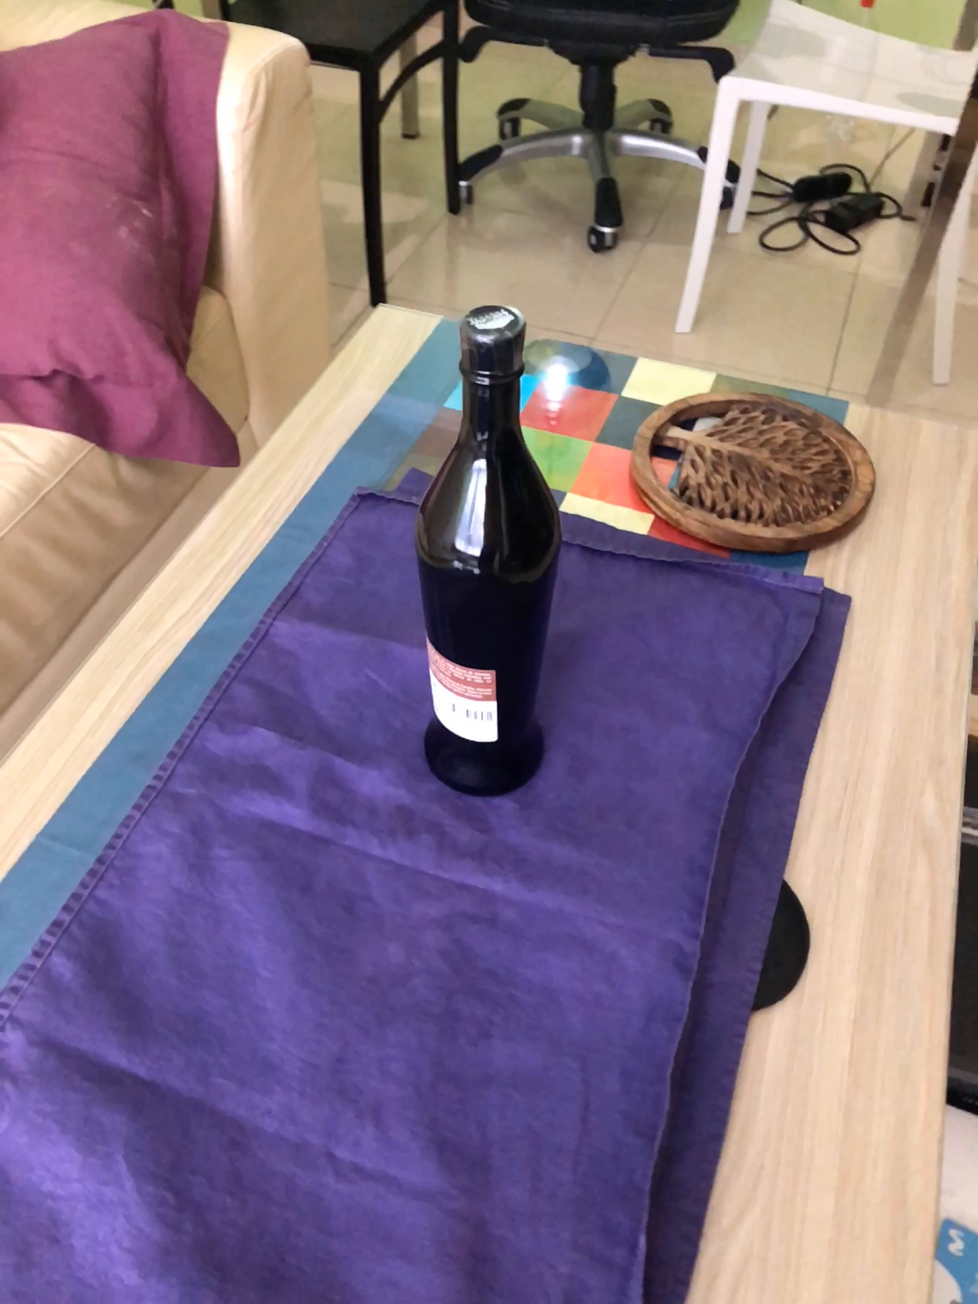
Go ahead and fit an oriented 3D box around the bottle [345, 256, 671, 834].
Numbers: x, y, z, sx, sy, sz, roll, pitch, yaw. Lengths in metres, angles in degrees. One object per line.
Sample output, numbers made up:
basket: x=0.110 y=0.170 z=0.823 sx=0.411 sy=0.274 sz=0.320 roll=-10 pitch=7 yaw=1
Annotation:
bottle: x=0.006 y=-0.042 z=0.568 sx=0.100 sy=0.279 sz=0.100 roll=1 pitch=47 yaw=-1
